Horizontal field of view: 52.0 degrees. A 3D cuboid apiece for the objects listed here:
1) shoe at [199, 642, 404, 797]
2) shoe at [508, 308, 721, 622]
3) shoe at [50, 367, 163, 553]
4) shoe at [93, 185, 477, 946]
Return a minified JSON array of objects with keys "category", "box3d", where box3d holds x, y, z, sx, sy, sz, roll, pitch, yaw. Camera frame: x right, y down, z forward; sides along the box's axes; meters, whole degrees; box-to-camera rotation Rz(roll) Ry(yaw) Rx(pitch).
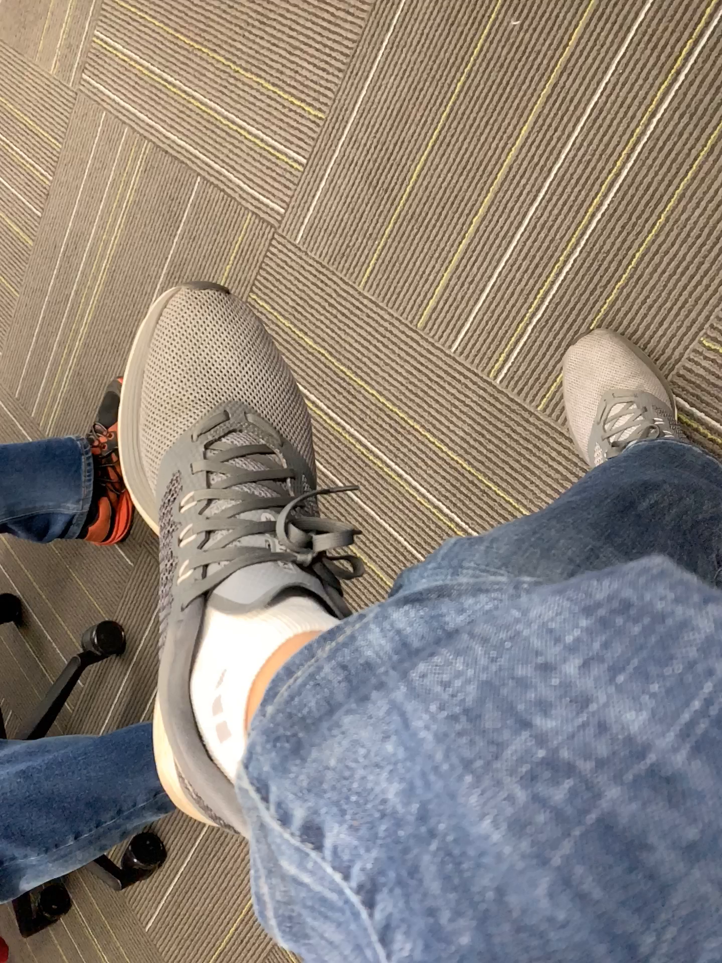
[{"category":"shoe","box3d":[-0.094,0.353,1.101,0.278,0.116,0.112,-36,64,26]},{"category":"shoe","box3d":[0.288,-0.021,0.753,0.117,0.074,0.293,-41,70,32]},{"category":"shoe","box3d":[-0.445,-0.037,1.284,0.113,0.107,0.294,22,100,54]},{"category":"shoe","box3d":[-0.054,0.028,0.369,0.143,0.115,0.294,149,112,-69]}]
